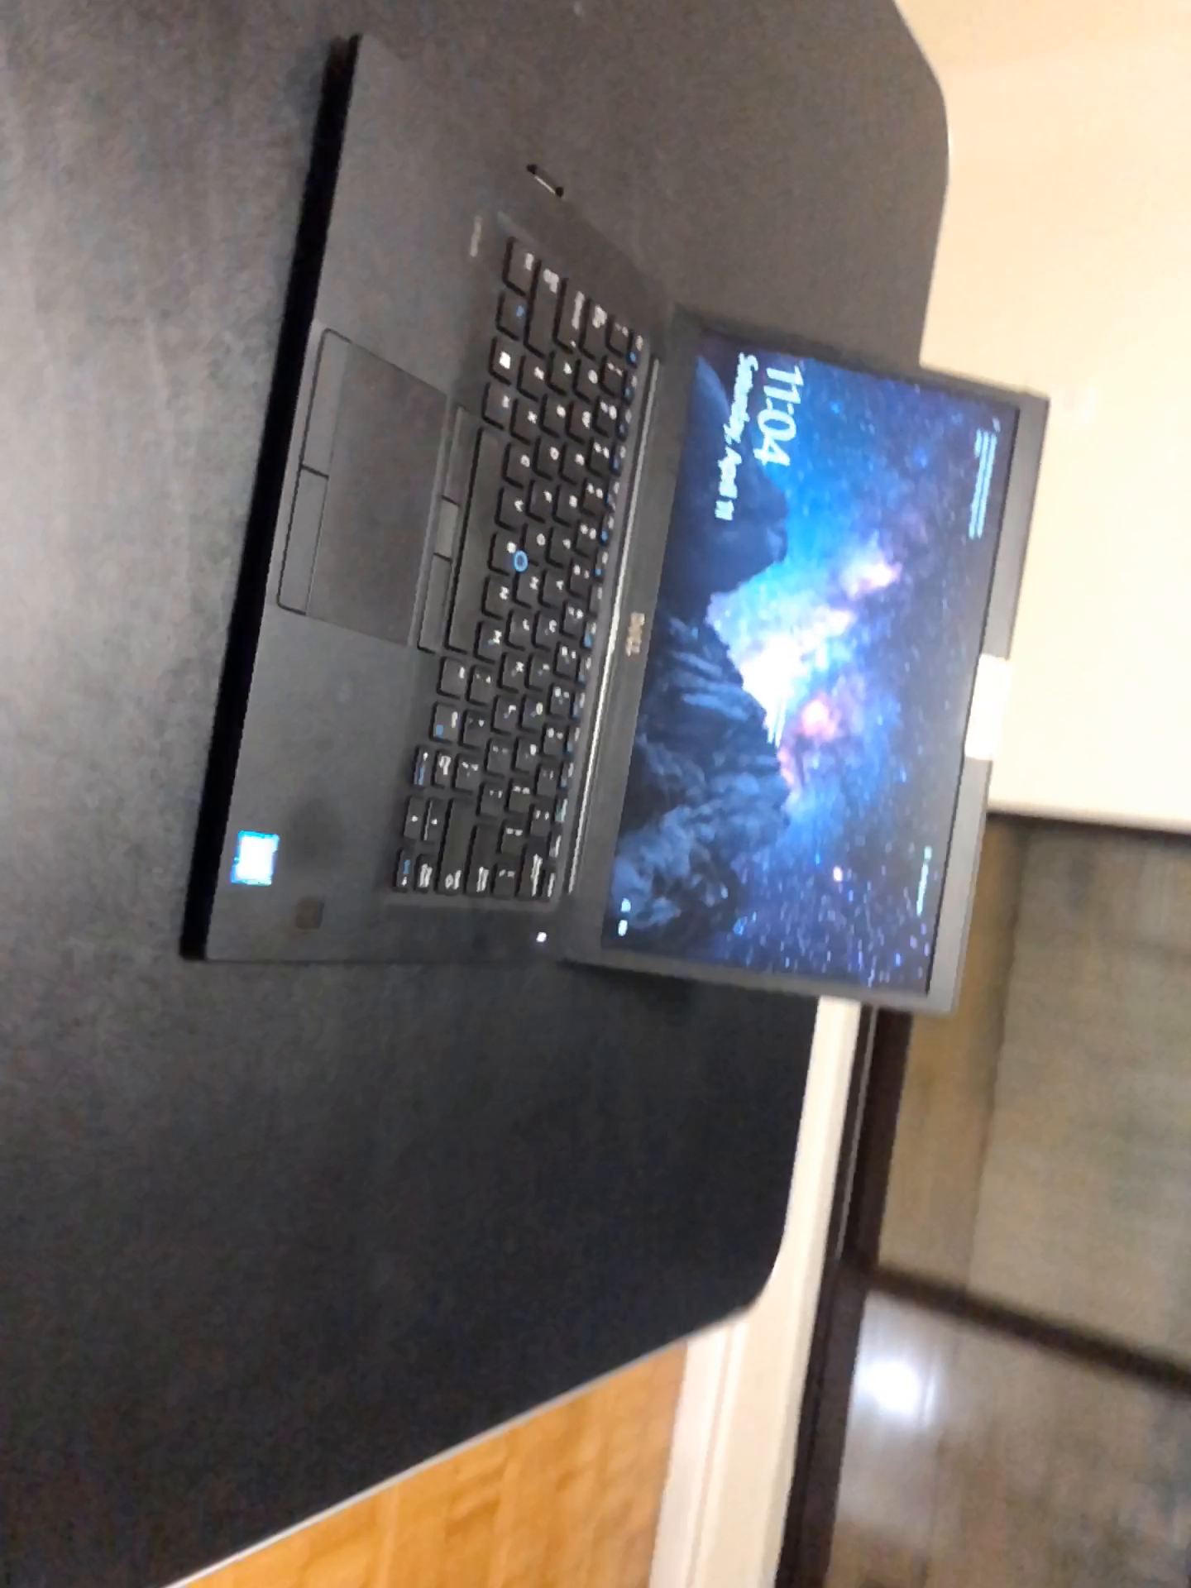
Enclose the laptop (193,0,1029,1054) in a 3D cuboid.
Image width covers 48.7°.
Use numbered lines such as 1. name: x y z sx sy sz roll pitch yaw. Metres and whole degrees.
1. laptop: 0.046 -0.073 0.561 0.370 0.140 0.319 12 86 -58
